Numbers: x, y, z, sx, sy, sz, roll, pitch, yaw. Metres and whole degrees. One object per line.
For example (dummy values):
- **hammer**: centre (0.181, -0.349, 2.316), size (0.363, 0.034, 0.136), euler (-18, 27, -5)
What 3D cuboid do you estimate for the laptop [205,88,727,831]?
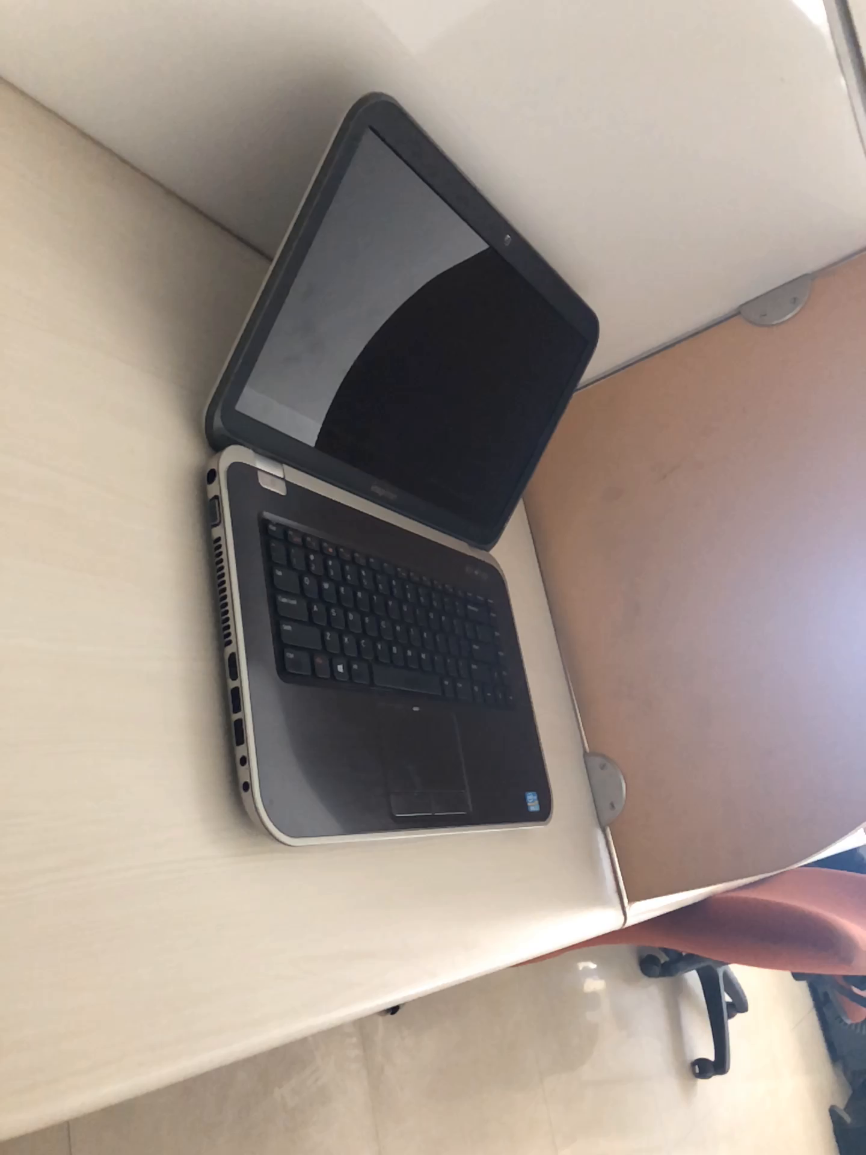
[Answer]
- **laptop**: centre (0.035, -0.048, 0.682), size (0.340, 0.152, 0.409), euler (20, 55, -56)
